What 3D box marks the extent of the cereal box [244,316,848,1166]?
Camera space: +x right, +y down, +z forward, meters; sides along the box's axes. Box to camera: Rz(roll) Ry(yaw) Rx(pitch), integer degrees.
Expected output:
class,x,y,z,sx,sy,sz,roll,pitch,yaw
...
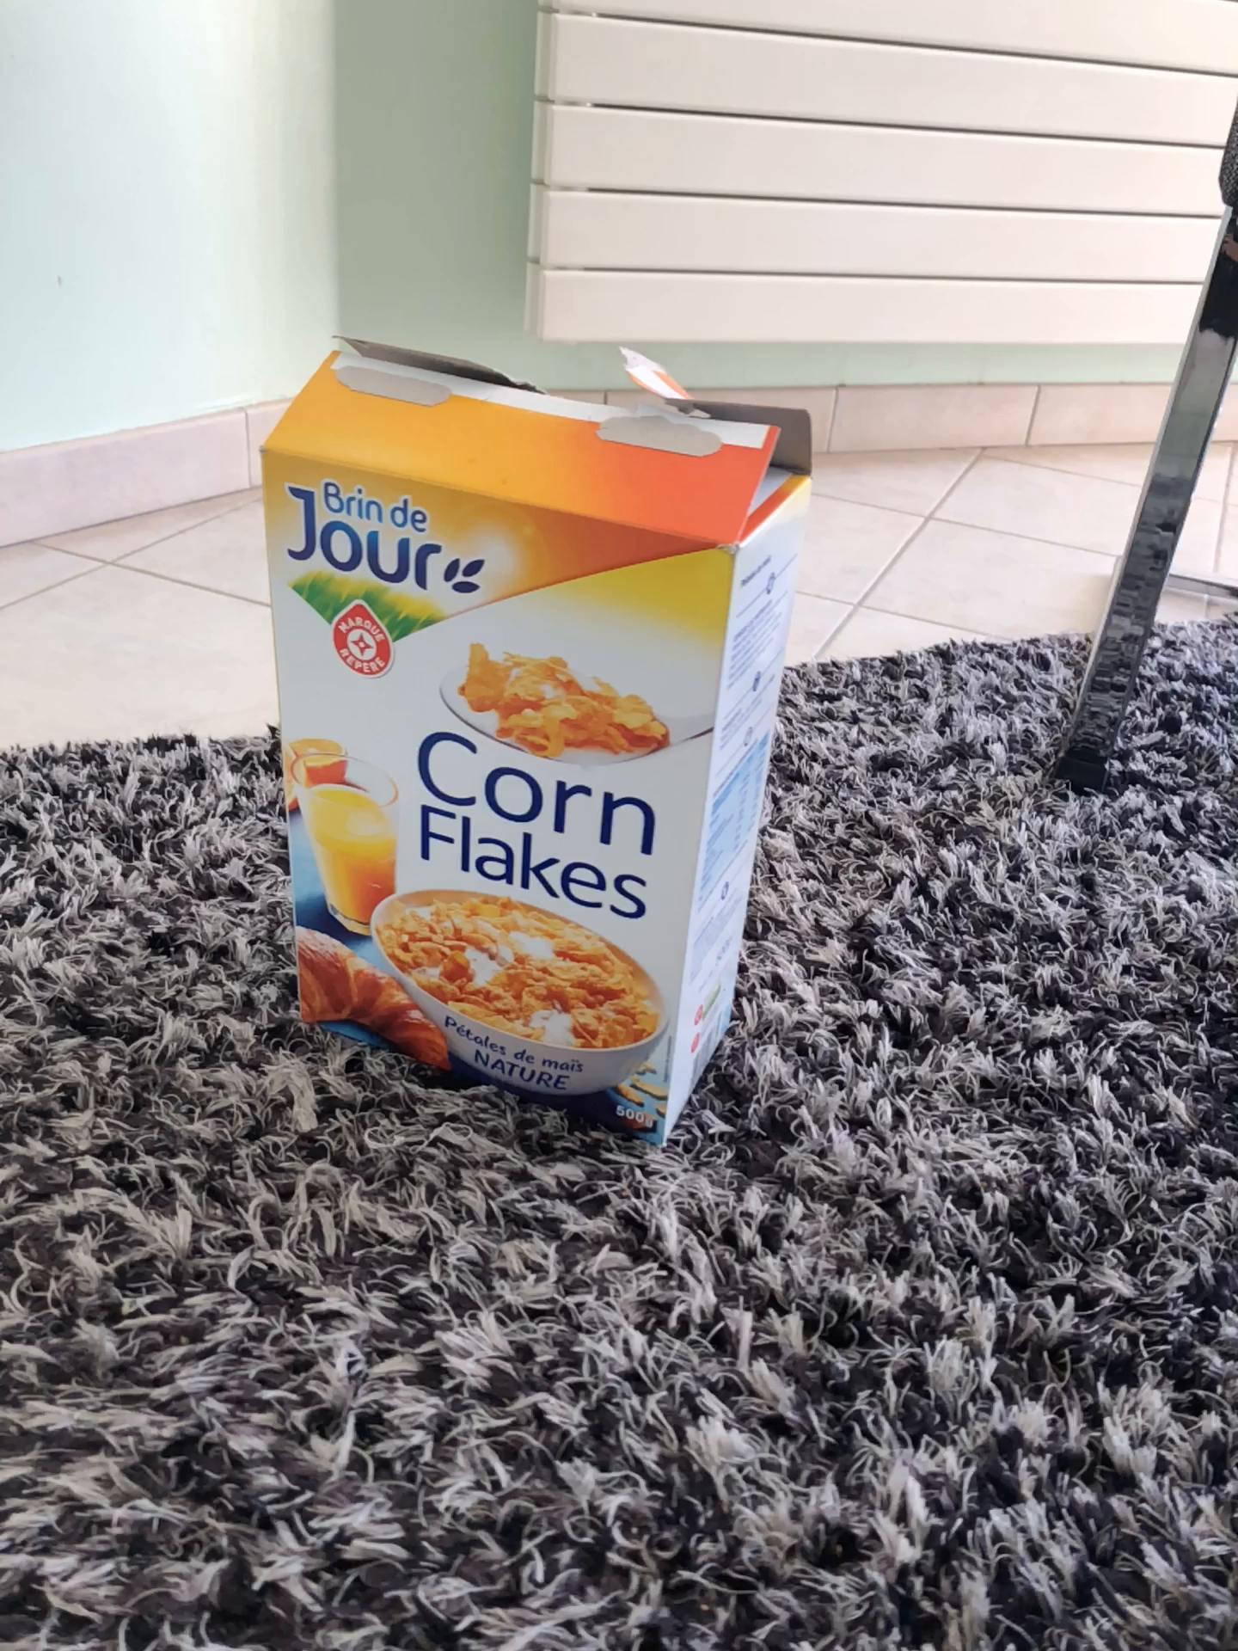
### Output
class,x,y,z,sx,sy,sz,roll,pitch,yaw
cereal box,-0.038,-0.033,0.580,0.200,0.308,0.101,16,32,17
